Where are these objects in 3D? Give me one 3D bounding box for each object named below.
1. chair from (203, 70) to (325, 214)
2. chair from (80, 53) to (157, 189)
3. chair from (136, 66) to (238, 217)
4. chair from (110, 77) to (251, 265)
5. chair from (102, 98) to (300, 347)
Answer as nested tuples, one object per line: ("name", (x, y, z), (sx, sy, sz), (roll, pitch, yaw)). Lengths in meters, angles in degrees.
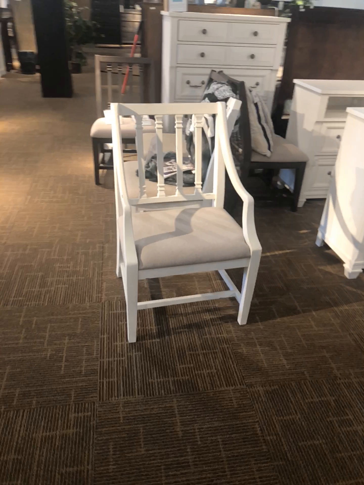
("chair", (0.566, -0.829, 3.173), (0.600, 0.885, 0.875), (-2, 30, -8))
("chair", (-0.486, -1.014, 3.311), (0.540, 0.955, 0.603), (0, 30, -5))
("chair", (-0.016, -0.743, 2.871), (0.580, 0.885, 0.684), (-2, 30, -8))
("chair", (-0.057, -0.415, 2.251), (0.640, 0.885, 0.563), (-2, 30, -8))
("chair", (0.004, -0.122, 1.784), (0.650, 0.885, 0.633), (-4, 31, -11))
